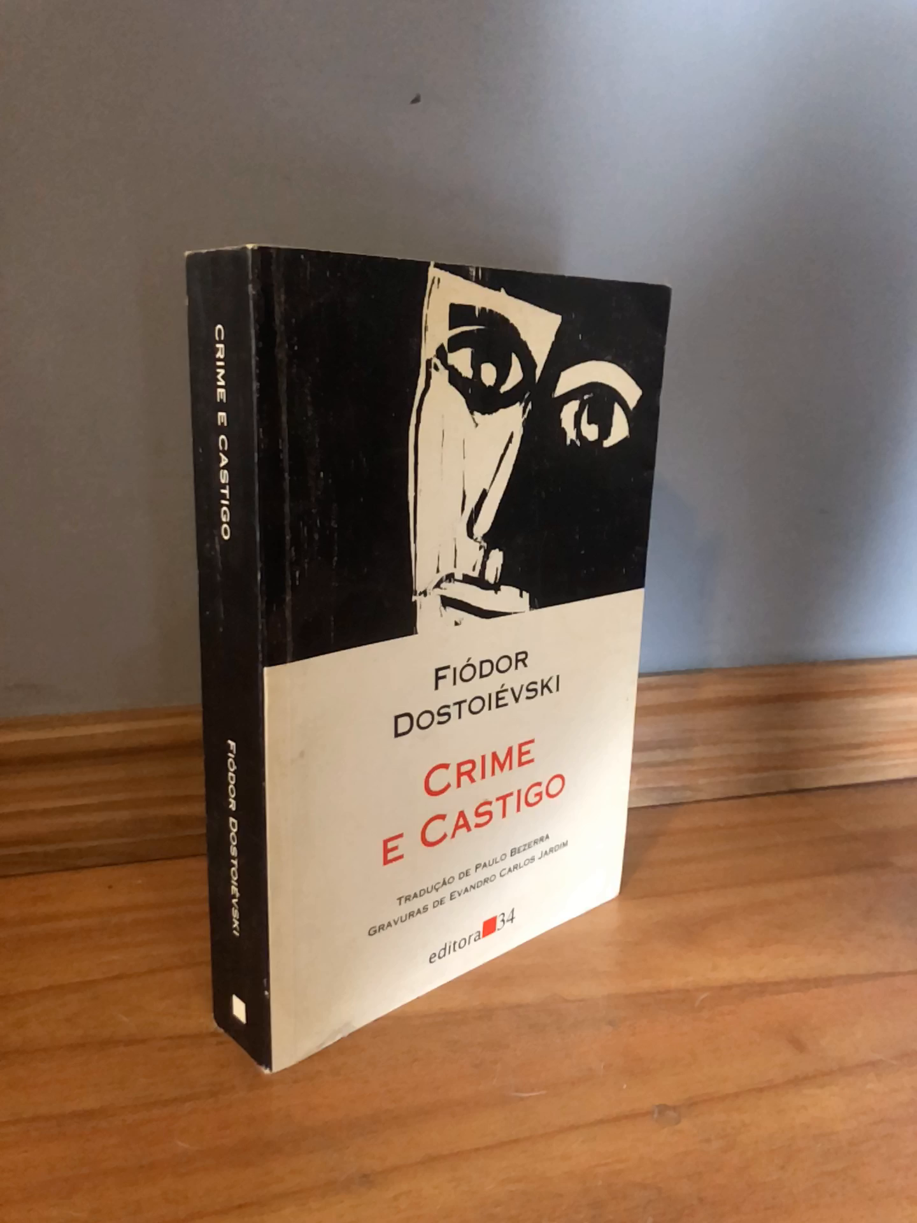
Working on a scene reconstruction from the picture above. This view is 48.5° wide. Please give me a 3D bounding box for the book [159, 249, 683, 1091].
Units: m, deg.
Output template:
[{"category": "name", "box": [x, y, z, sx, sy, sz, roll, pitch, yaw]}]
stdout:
[{"category": "book", "box": [-0.004, 0.009, 0.332, 0.170, 0.223, 0.045, -10, 17, -42]}]
